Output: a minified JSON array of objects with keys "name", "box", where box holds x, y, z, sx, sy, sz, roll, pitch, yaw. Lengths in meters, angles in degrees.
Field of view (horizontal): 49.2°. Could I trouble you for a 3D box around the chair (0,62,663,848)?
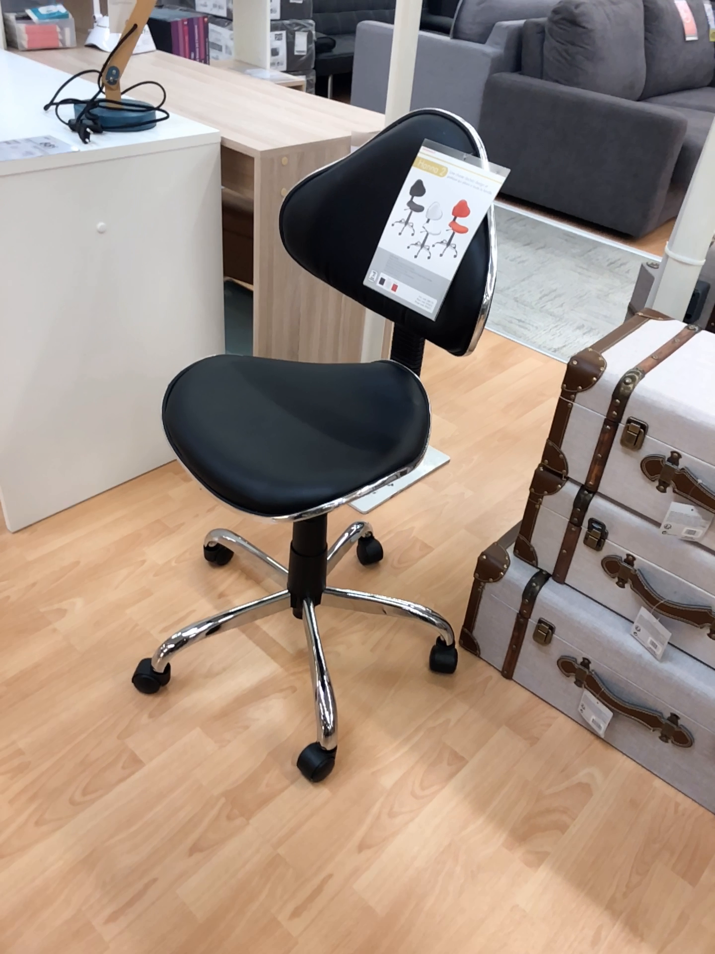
[{"name":"chair","box":[-0.068,-0.079,1.190,0.600,0.855,0.614,29,42,28]}]
